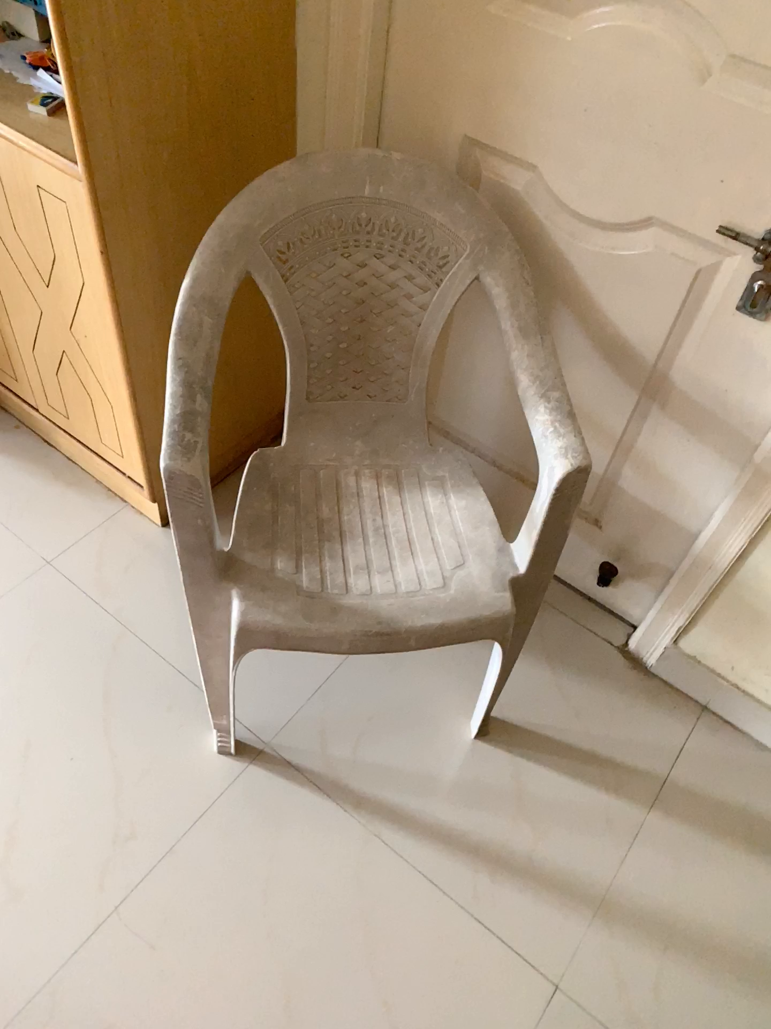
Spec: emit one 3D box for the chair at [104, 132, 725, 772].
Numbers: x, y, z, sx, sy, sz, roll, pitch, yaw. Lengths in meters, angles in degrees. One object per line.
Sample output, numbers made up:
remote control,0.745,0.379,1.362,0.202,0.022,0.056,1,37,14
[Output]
chair,-0.014,-0.067,1.257,0.610,0.724,0.675,1,50,-7
